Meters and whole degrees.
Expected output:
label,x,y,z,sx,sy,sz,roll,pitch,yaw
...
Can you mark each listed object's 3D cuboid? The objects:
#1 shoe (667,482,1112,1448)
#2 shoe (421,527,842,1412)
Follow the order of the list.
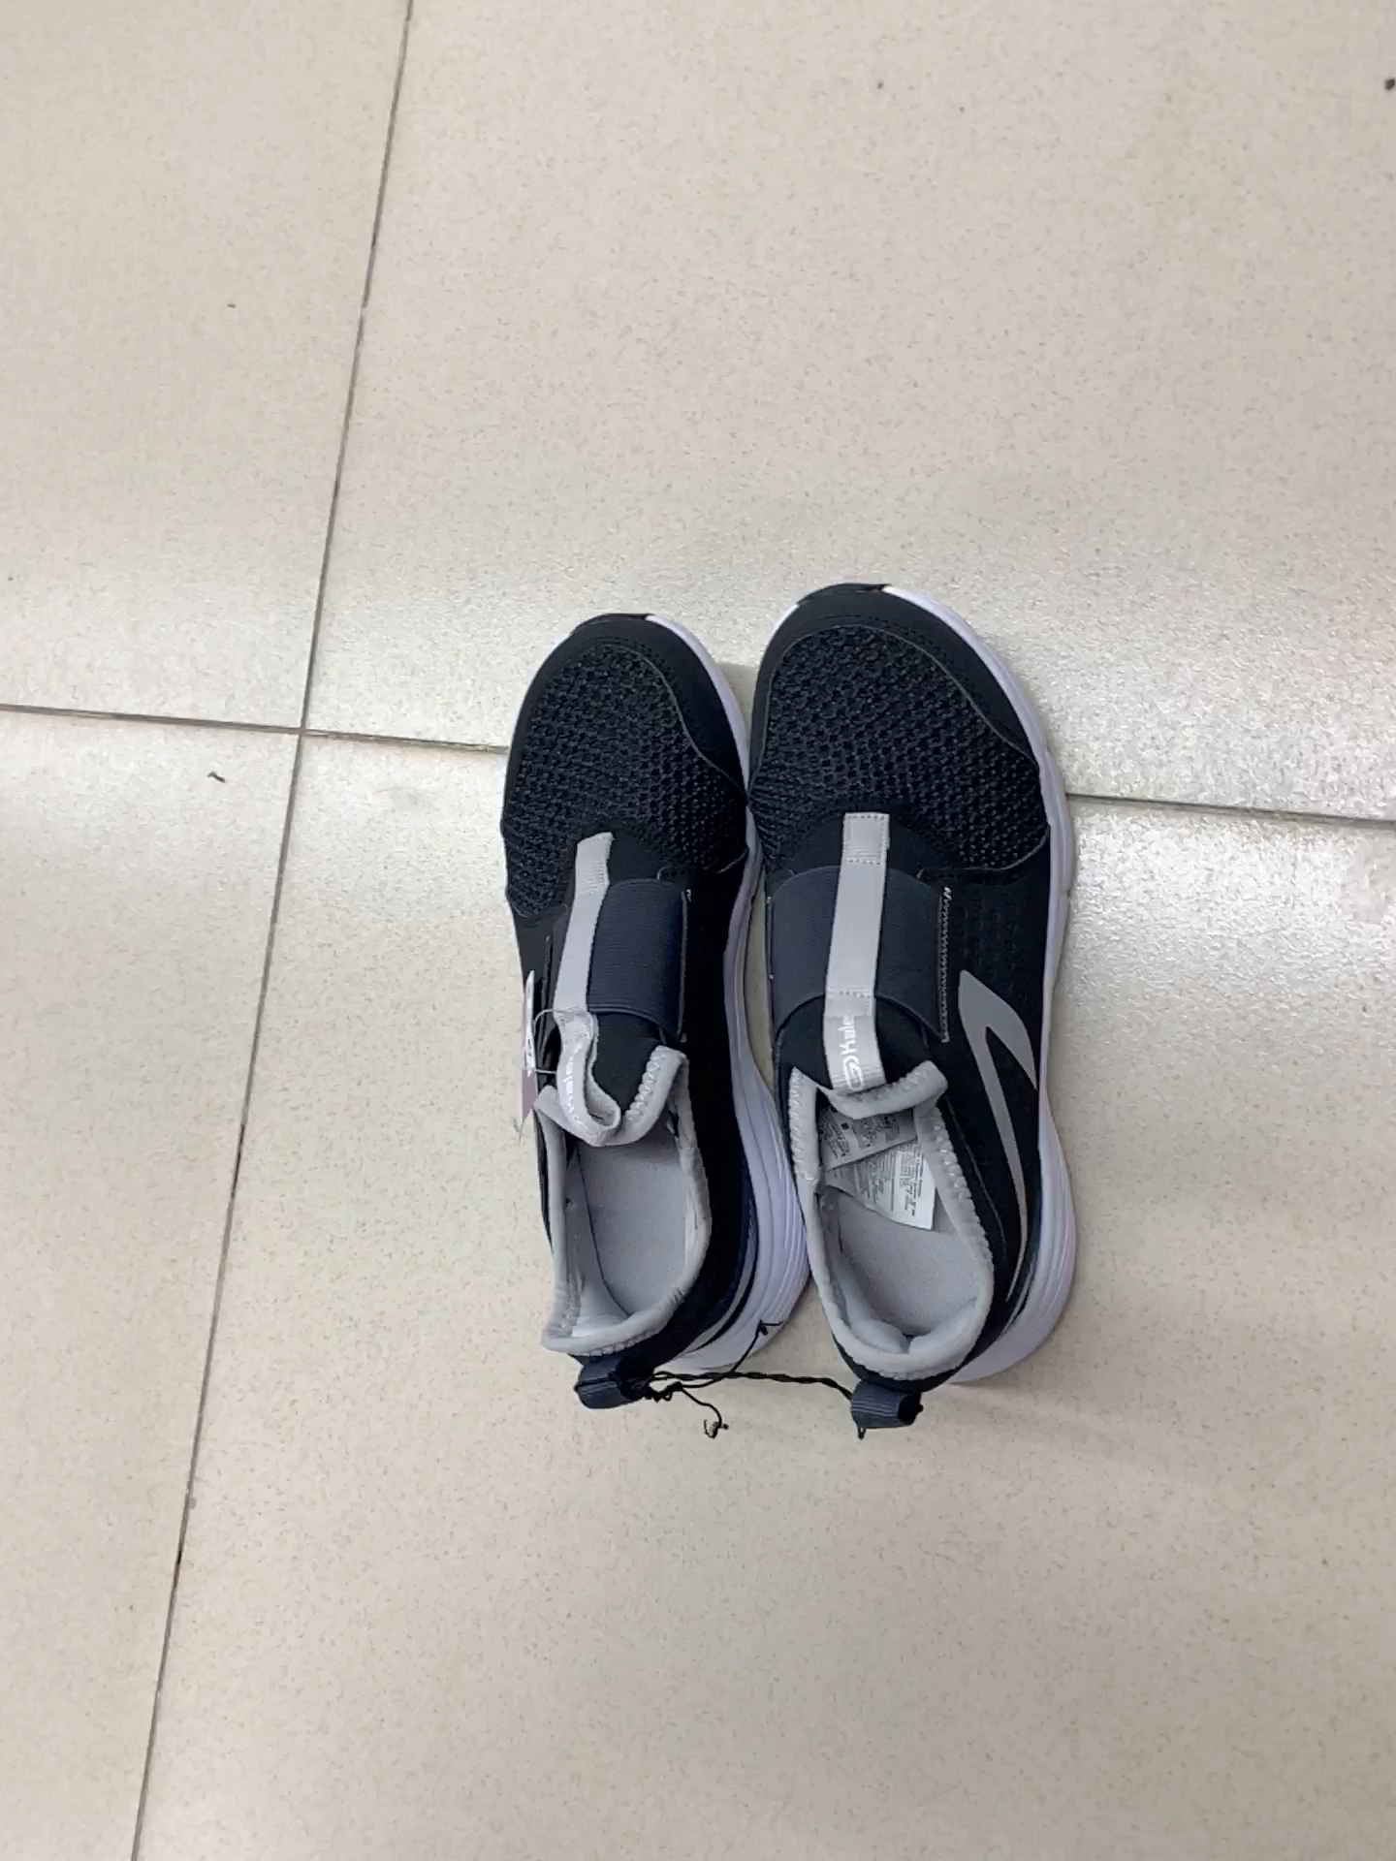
label,x,y,z,sx,sy,sz,roll,pitch,yaw
shoe,0.058,0.012,0.421,0.090,0.080,0.250,-7,84,21
shoe,-0.020,0.015,0.455,0.090,0.080,0.250,-7,84,21
